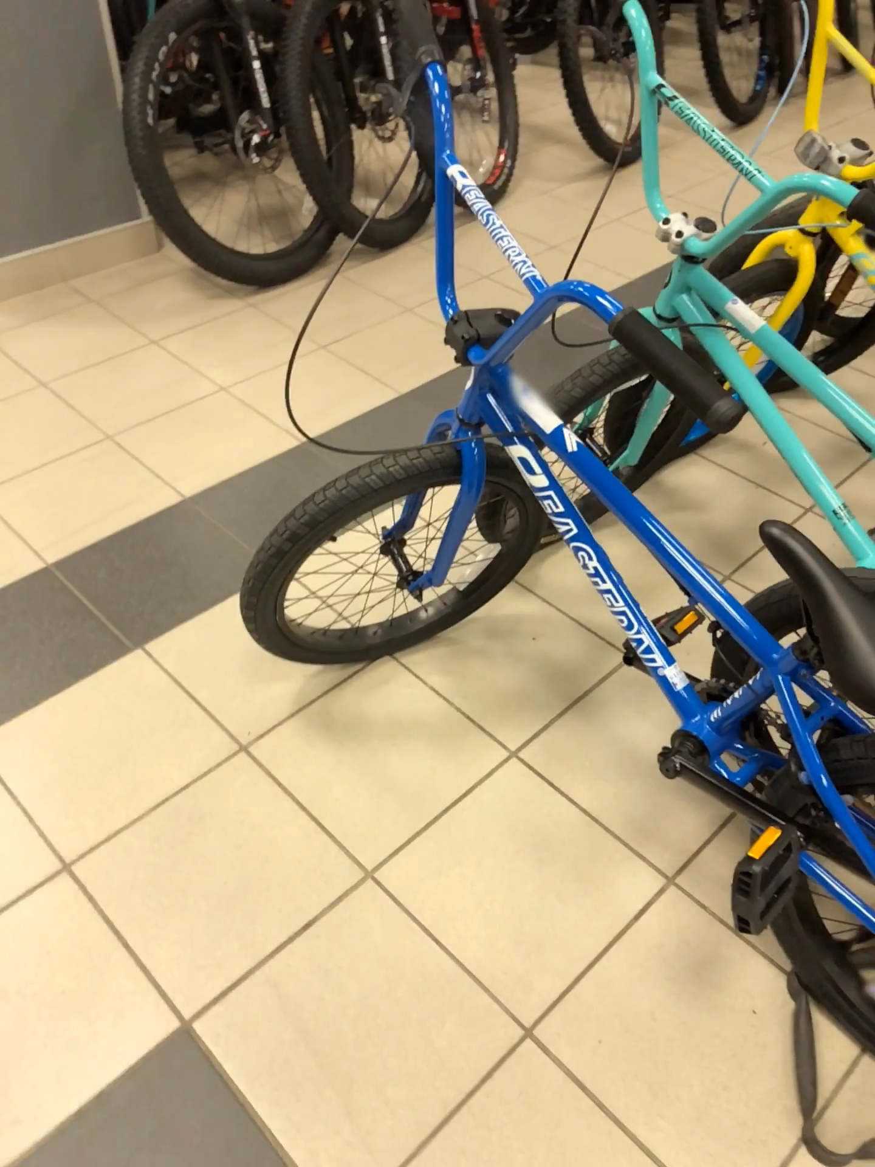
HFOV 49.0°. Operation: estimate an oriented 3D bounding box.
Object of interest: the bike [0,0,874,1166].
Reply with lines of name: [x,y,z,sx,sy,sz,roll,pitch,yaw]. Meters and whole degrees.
bike: [0.270,0.072,1.017,1.259,0.961,0.824,29,48,26]
